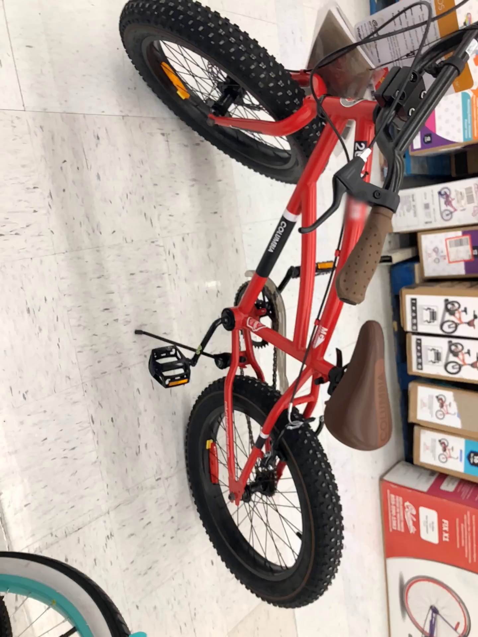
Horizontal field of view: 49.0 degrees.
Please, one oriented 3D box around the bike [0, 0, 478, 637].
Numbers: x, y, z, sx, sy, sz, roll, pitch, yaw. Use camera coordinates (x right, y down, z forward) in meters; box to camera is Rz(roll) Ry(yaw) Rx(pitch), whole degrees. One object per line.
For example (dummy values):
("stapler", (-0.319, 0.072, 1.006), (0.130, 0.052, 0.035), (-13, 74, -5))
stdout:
("bike", (0.057, 0.033, 1.082), (0.610, 0.968, 1.357), (-19, 102, -44))
